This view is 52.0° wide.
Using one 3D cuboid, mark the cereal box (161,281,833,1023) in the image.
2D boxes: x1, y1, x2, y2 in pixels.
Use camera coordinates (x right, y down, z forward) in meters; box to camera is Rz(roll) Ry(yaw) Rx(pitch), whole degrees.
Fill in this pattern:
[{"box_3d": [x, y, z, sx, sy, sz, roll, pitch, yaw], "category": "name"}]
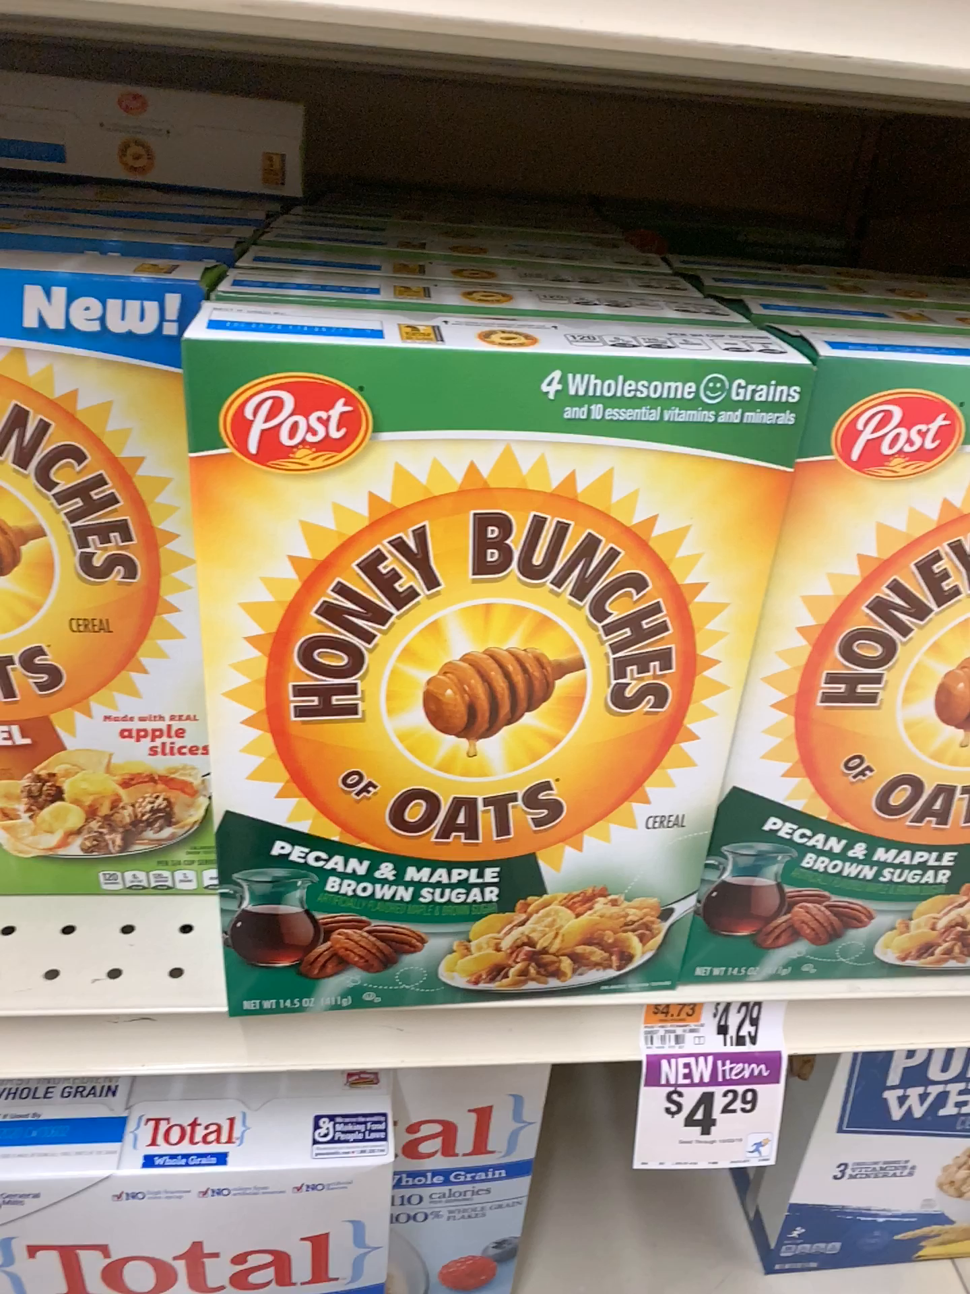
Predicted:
[{"box_3d": [-0.006, 0.016, 0.383, 0.200, 0.278, 0.060, -1, 29, -10], "category": "cereal box"}]
